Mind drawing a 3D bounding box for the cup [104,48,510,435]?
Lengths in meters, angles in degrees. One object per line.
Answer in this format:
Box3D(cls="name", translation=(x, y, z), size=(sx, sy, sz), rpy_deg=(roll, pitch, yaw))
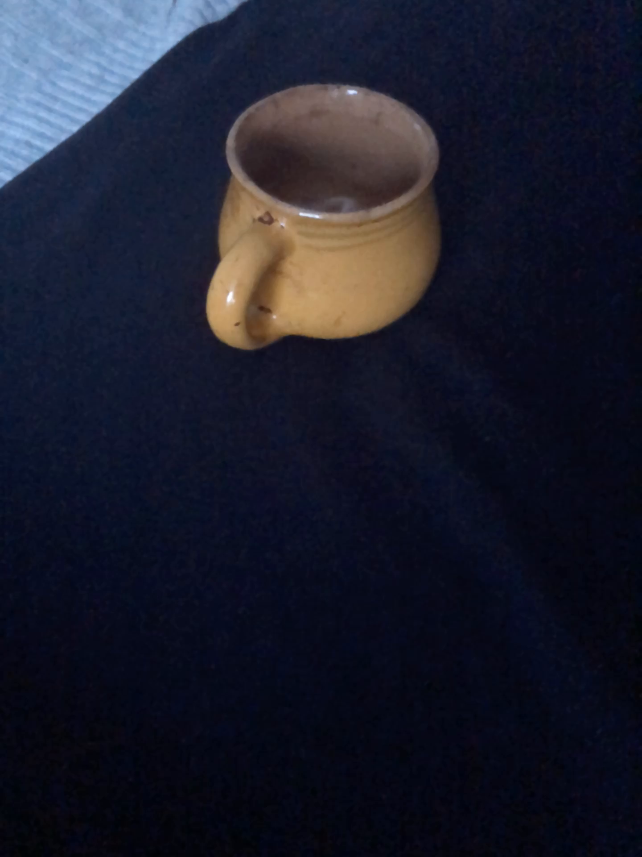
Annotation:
Box3D(cls="cup", translation=(-0.002, -0.074, 0.268), size=(0.082, 0.058, 0.119), rpy_deg=(33, 61, 18))
